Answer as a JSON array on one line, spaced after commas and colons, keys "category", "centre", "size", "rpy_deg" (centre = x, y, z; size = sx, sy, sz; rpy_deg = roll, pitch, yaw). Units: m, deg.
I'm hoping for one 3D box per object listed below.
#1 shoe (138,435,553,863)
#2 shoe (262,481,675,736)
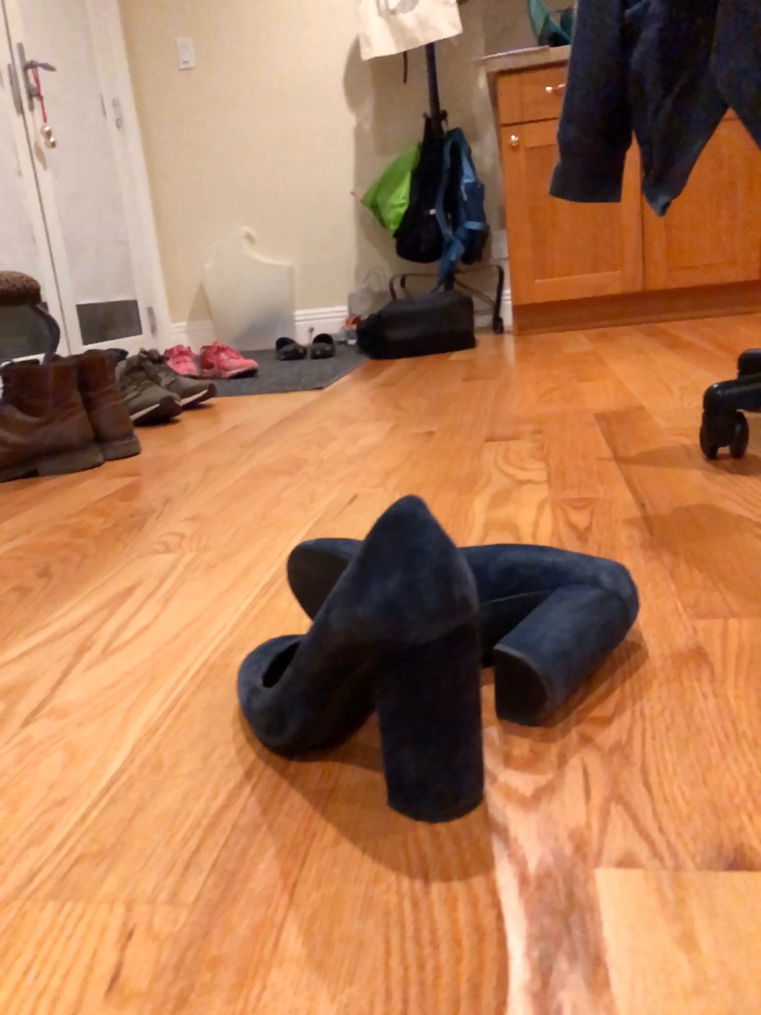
[{"category": "shoe", "centre": [-0.029, 0.050, 0.436], "size": [0.080, 0.146, 0.226], "rpy_deg": [-17, 19, -37]}, {"category": "shoe", "centre": [0.057, 0.047, 0.526], "size": [0.204, 0.080, 0.152], "rpy_deg": [6, 19, 37]}]
